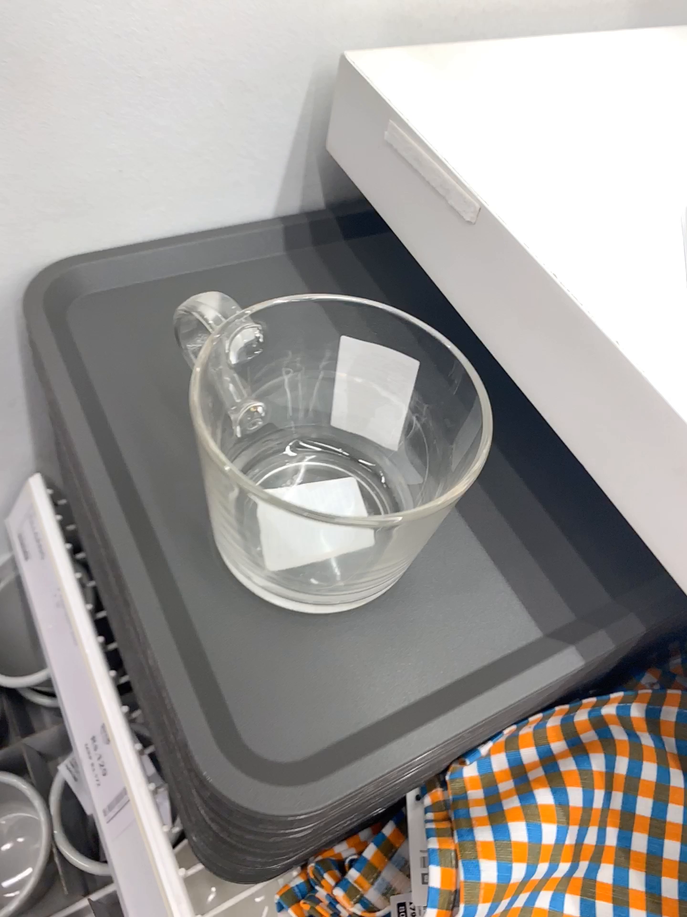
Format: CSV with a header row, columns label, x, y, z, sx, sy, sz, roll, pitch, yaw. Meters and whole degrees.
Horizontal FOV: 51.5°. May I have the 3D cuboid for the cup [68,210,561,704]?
label,x,y,z,sx,sy,sz,roll,pitch,yaw
cup,-0.016,-0.007,0.257,0.100,0.080,0.130,-28,64,-29
